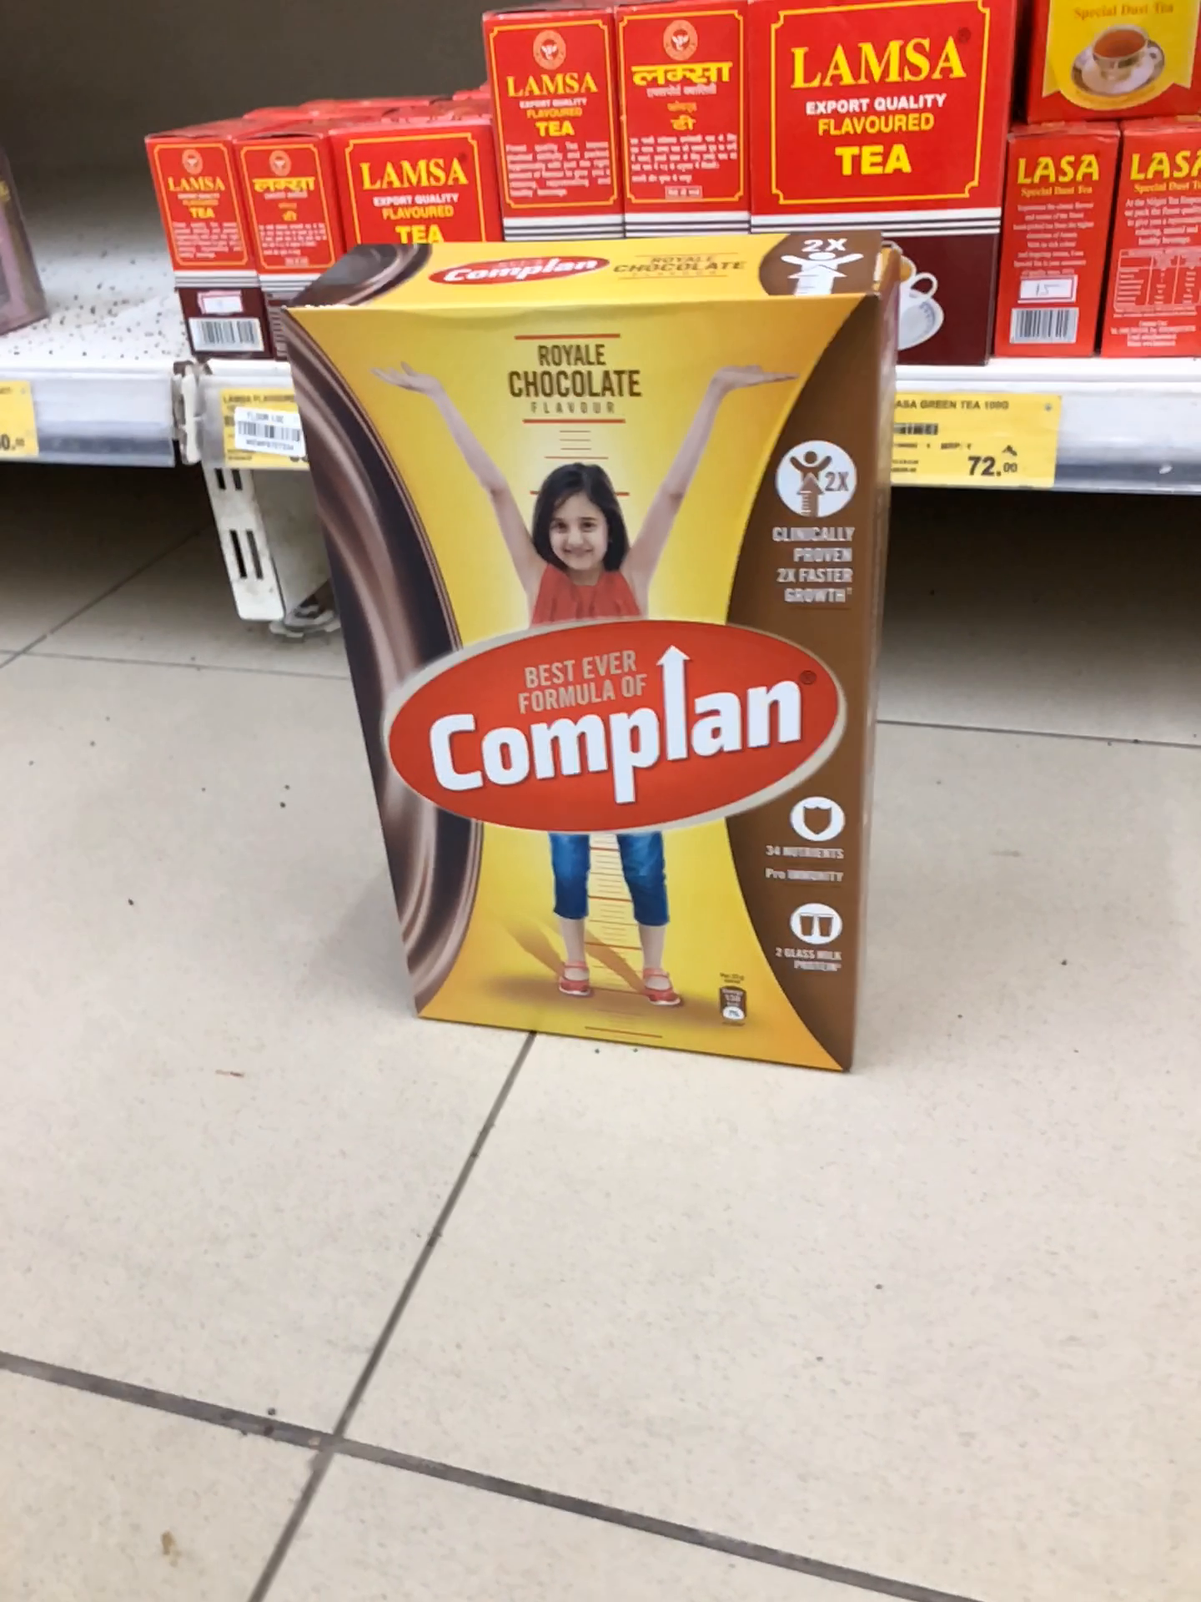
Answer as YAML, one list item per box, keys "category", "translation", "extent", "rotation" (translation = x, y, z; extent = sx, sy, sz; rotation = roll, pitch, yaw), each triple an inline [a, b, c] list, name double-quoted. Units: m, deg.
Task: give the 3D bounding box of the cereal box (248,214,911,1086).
- category: "cereal box"
  translation: [0.005, -0.039, 0.411]
  extent: [0.160, 0.248, 0.070]
  rotation: [5, 33, 15]
